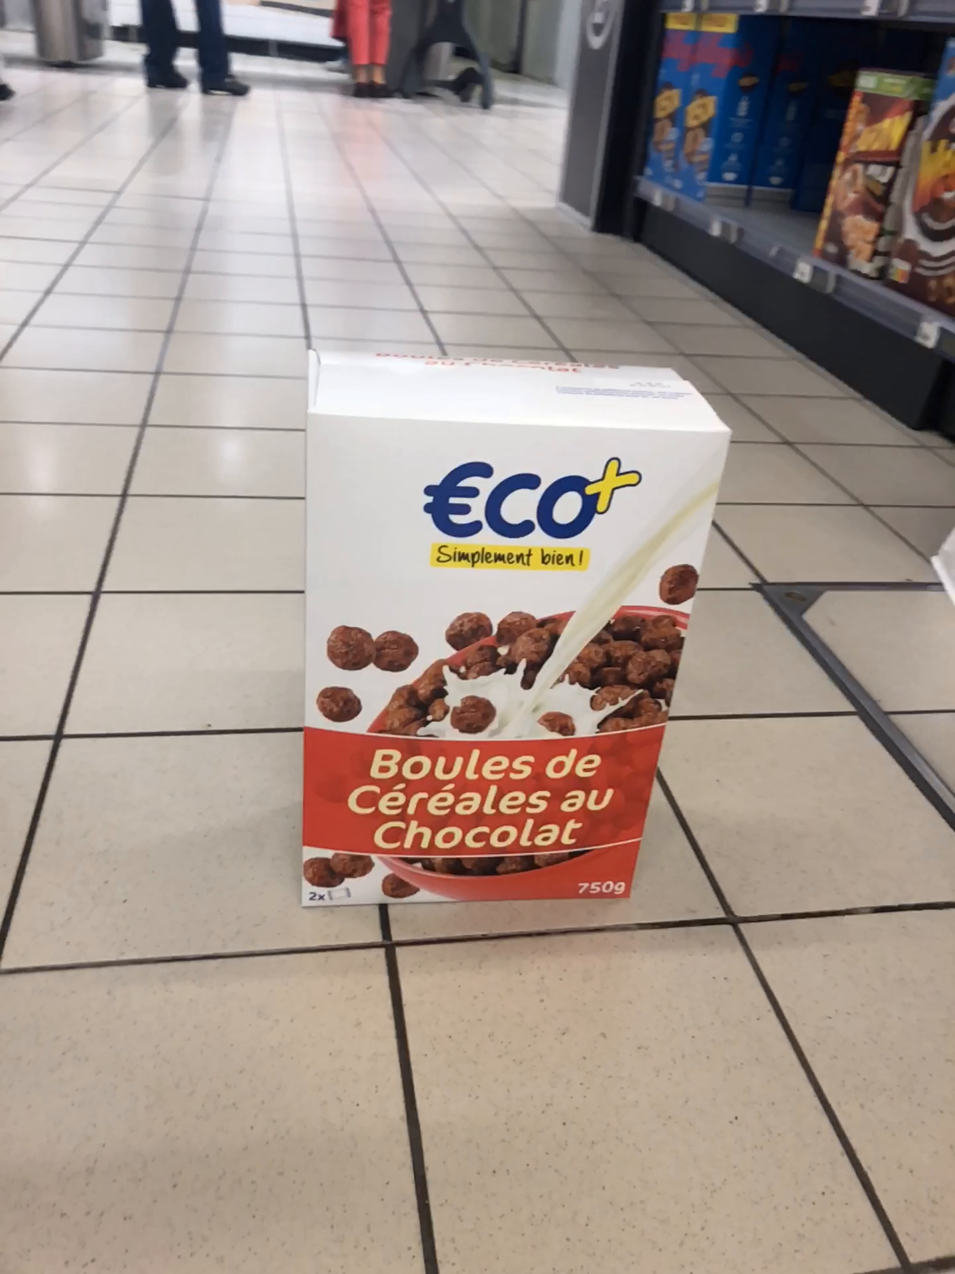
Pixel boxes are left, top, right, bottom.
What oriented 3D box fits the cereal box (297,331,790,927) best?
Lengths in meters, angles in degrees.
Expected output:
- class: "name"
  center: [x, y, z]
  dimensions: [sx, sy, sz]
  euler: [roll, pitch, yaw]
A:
- class: "cereal box"
  center: [0.014, 0.007, 0.561]
  dimensions: [0.210, 0.298, 0.101]
  euler: [2, 29, -8]
